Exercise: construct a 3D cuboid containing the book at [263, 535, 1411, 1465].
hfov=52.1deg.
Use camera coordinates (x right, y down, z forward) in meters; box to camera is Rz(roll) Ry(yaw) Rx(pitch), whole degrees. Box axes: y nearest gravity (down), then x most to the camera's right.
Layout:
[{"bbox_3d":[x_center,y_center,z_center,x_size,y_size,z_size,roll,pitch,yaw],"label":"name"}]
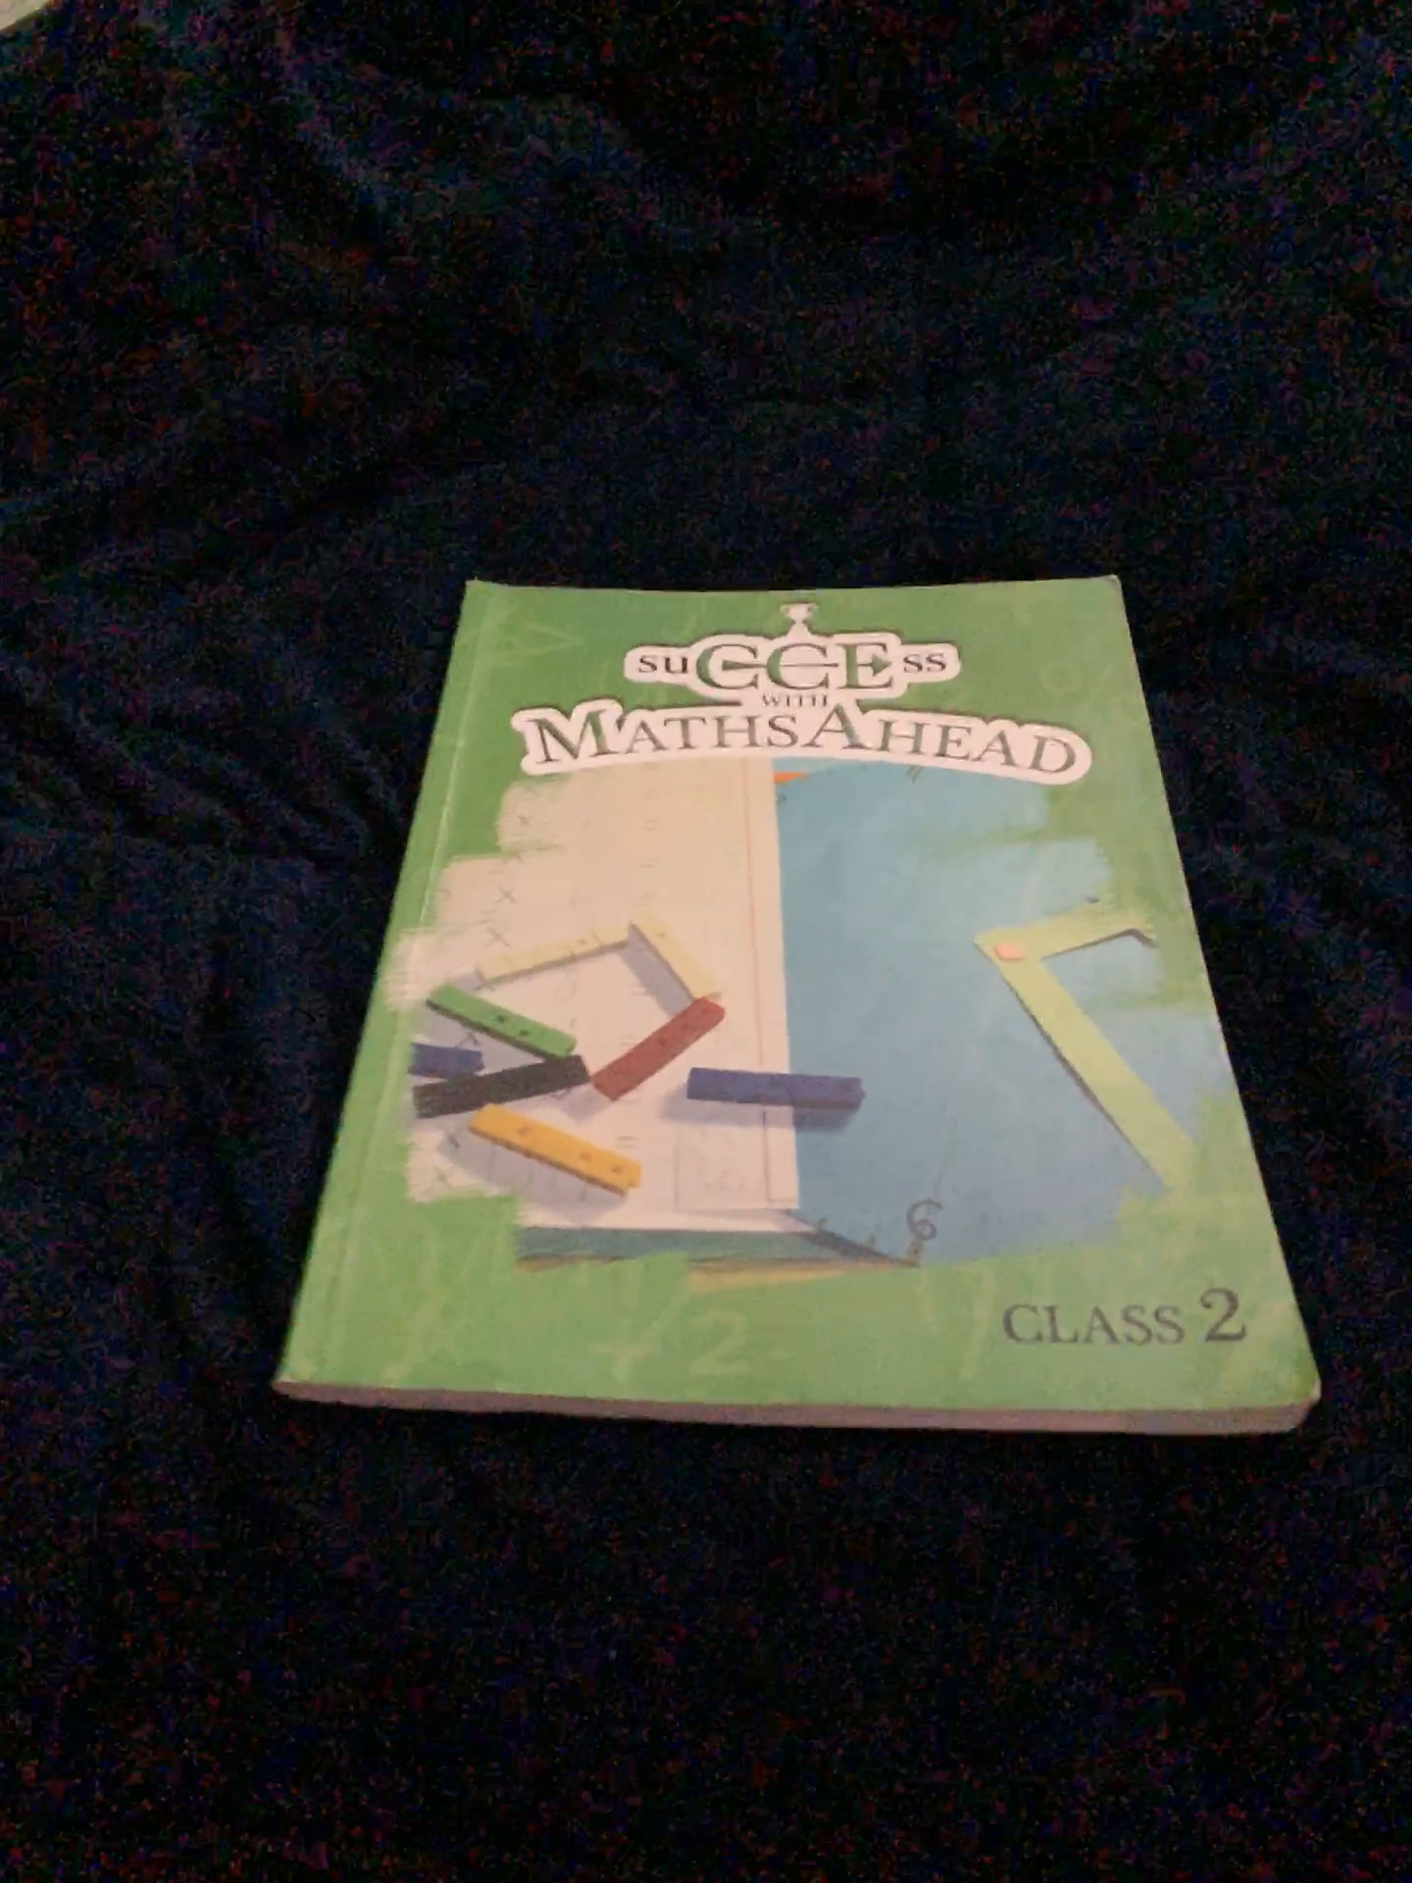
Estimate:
[{"bbox_3d":[0.031,-0.011,0.382,0.230,0.020,0.281,1,52,2],"label":"book"}]
